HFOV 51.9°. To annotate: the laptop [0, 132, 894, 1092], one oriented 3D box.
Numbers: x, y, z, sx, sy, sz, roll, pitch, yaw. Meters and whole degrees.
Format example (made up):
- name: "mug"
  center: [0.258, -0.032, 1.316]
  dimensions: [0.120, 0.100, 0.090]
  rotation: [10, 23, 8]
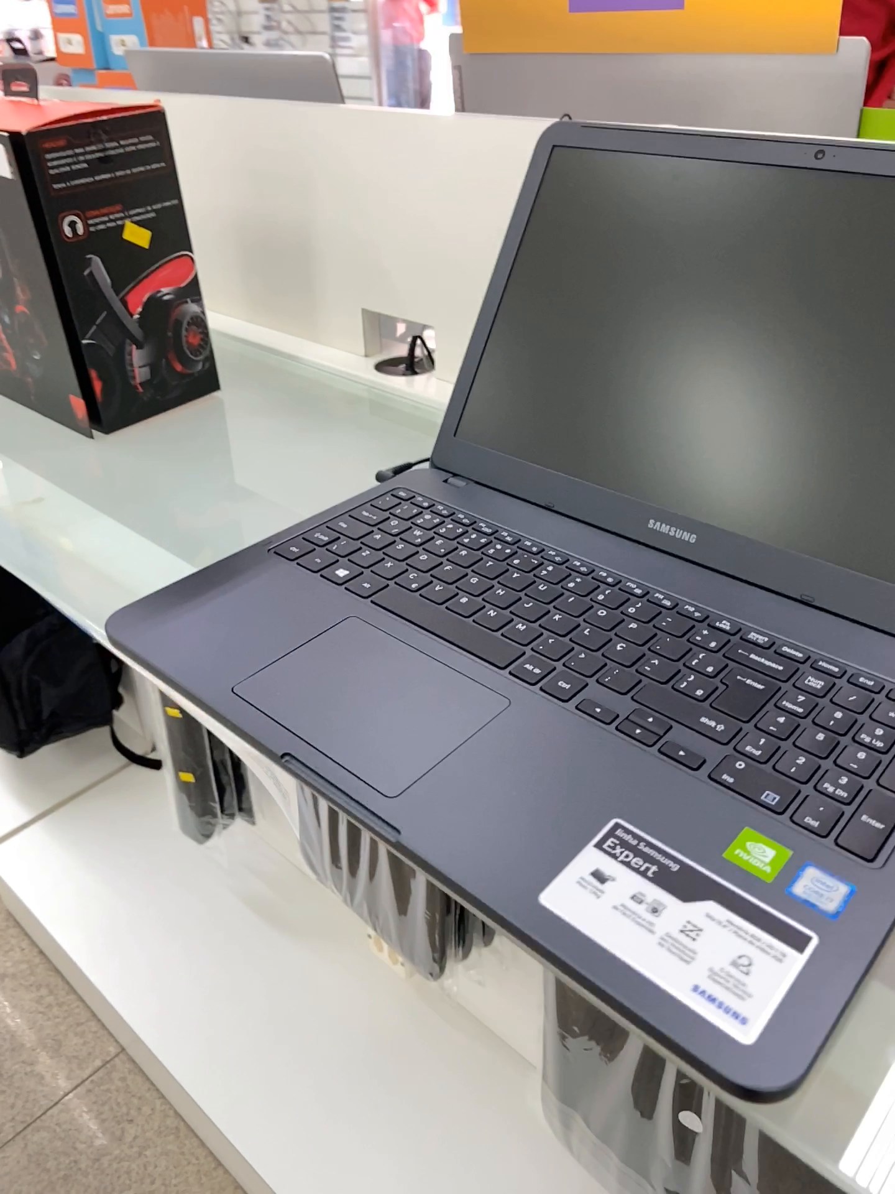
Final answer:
- name: "laptop"
  center: [0.080, -0.082, 0.431]
  dimensions: [0.371, 0.192, 0.370]
  rotation: [25, 42, 36]
